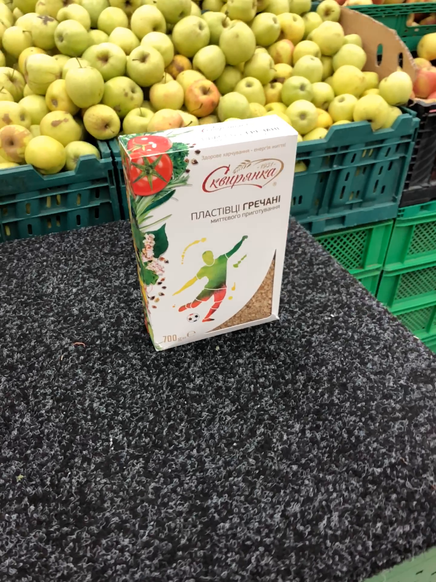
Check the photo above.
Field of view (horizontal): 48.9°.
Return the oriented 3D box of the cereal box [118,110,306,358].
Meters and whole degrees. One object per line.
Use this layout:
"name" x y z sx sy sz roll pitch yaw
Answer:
"cereal box" -0.006 -0.053 0.510 0.160 0.238 0.060 -13 40 -15
